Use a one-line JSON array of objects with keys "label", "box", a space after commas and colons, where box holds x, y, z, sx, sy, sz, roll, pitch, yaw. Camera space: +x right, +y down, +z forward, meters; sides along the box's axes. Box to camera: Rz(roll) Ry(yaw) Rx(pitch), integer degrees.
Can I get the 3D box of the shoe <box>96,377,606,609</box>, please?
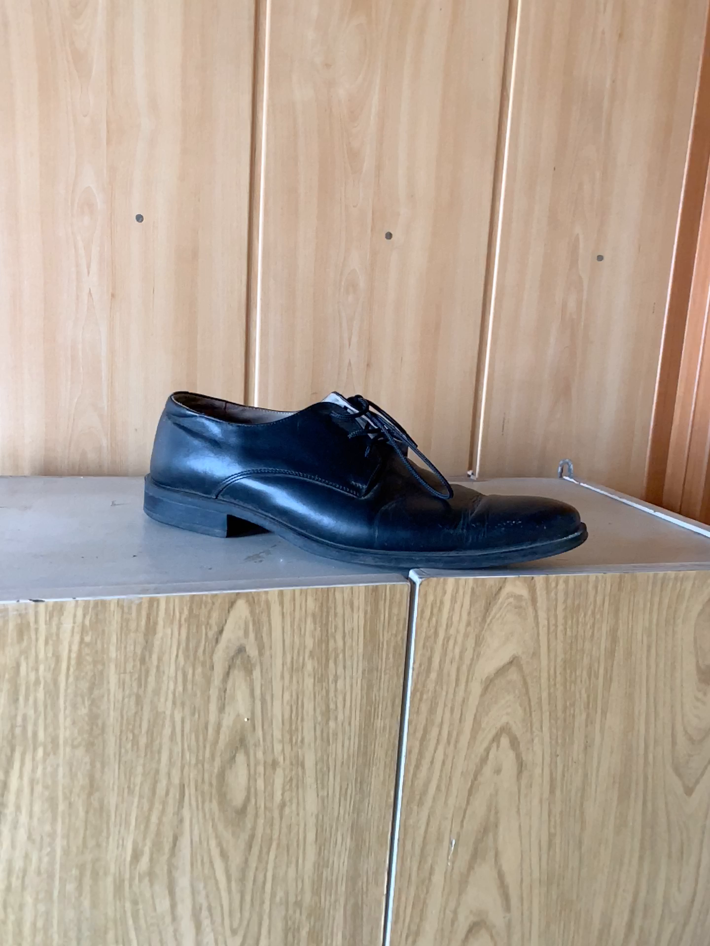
[{"label": "shoe", "box": [0.002, -0.004, 0.478, 0.300, 0.090, 0.141, 7, 12, 18]}]
